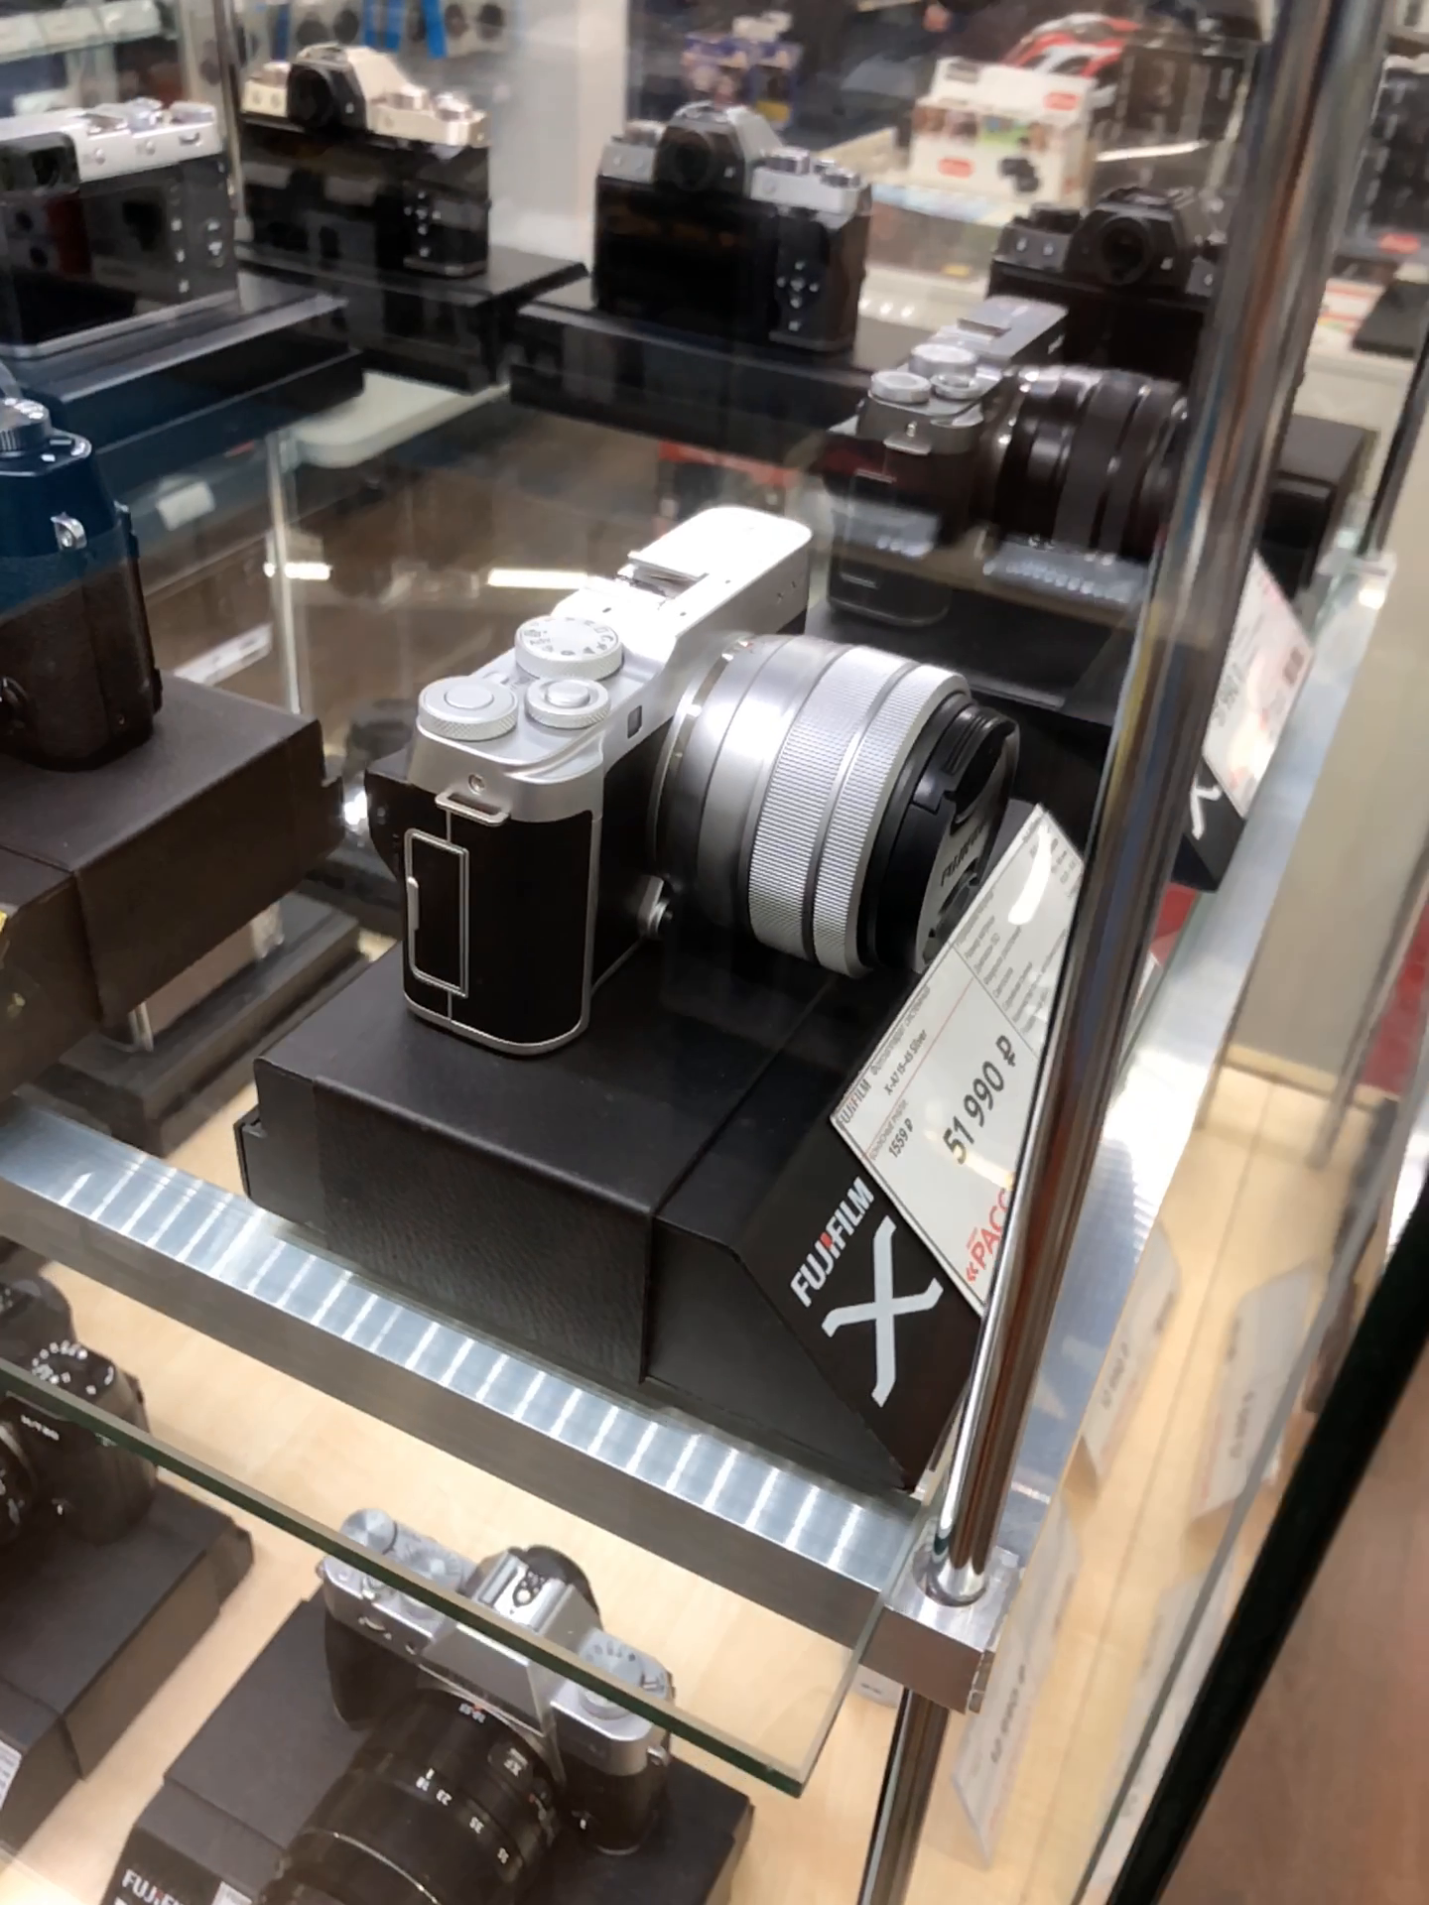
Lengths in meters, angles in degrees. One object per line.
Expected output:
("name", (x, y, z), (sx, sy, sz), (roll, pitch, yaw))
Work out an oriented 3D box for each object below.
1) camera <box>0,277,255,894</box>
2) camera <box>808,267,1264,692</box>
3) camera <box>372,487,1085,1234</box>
("camera", (-0.181, -0.086, 0.345), (0.115, 0.080, 0.097), (18, 38, 18))
("camera", (0.100, -0.151, 0.490), (0.096, 0.080, 0.116), (19, 38, 19))
("camera", (0.007, -0.027, 0.318), (0.084, 0.080, 0.126), (20, 38, 20))
